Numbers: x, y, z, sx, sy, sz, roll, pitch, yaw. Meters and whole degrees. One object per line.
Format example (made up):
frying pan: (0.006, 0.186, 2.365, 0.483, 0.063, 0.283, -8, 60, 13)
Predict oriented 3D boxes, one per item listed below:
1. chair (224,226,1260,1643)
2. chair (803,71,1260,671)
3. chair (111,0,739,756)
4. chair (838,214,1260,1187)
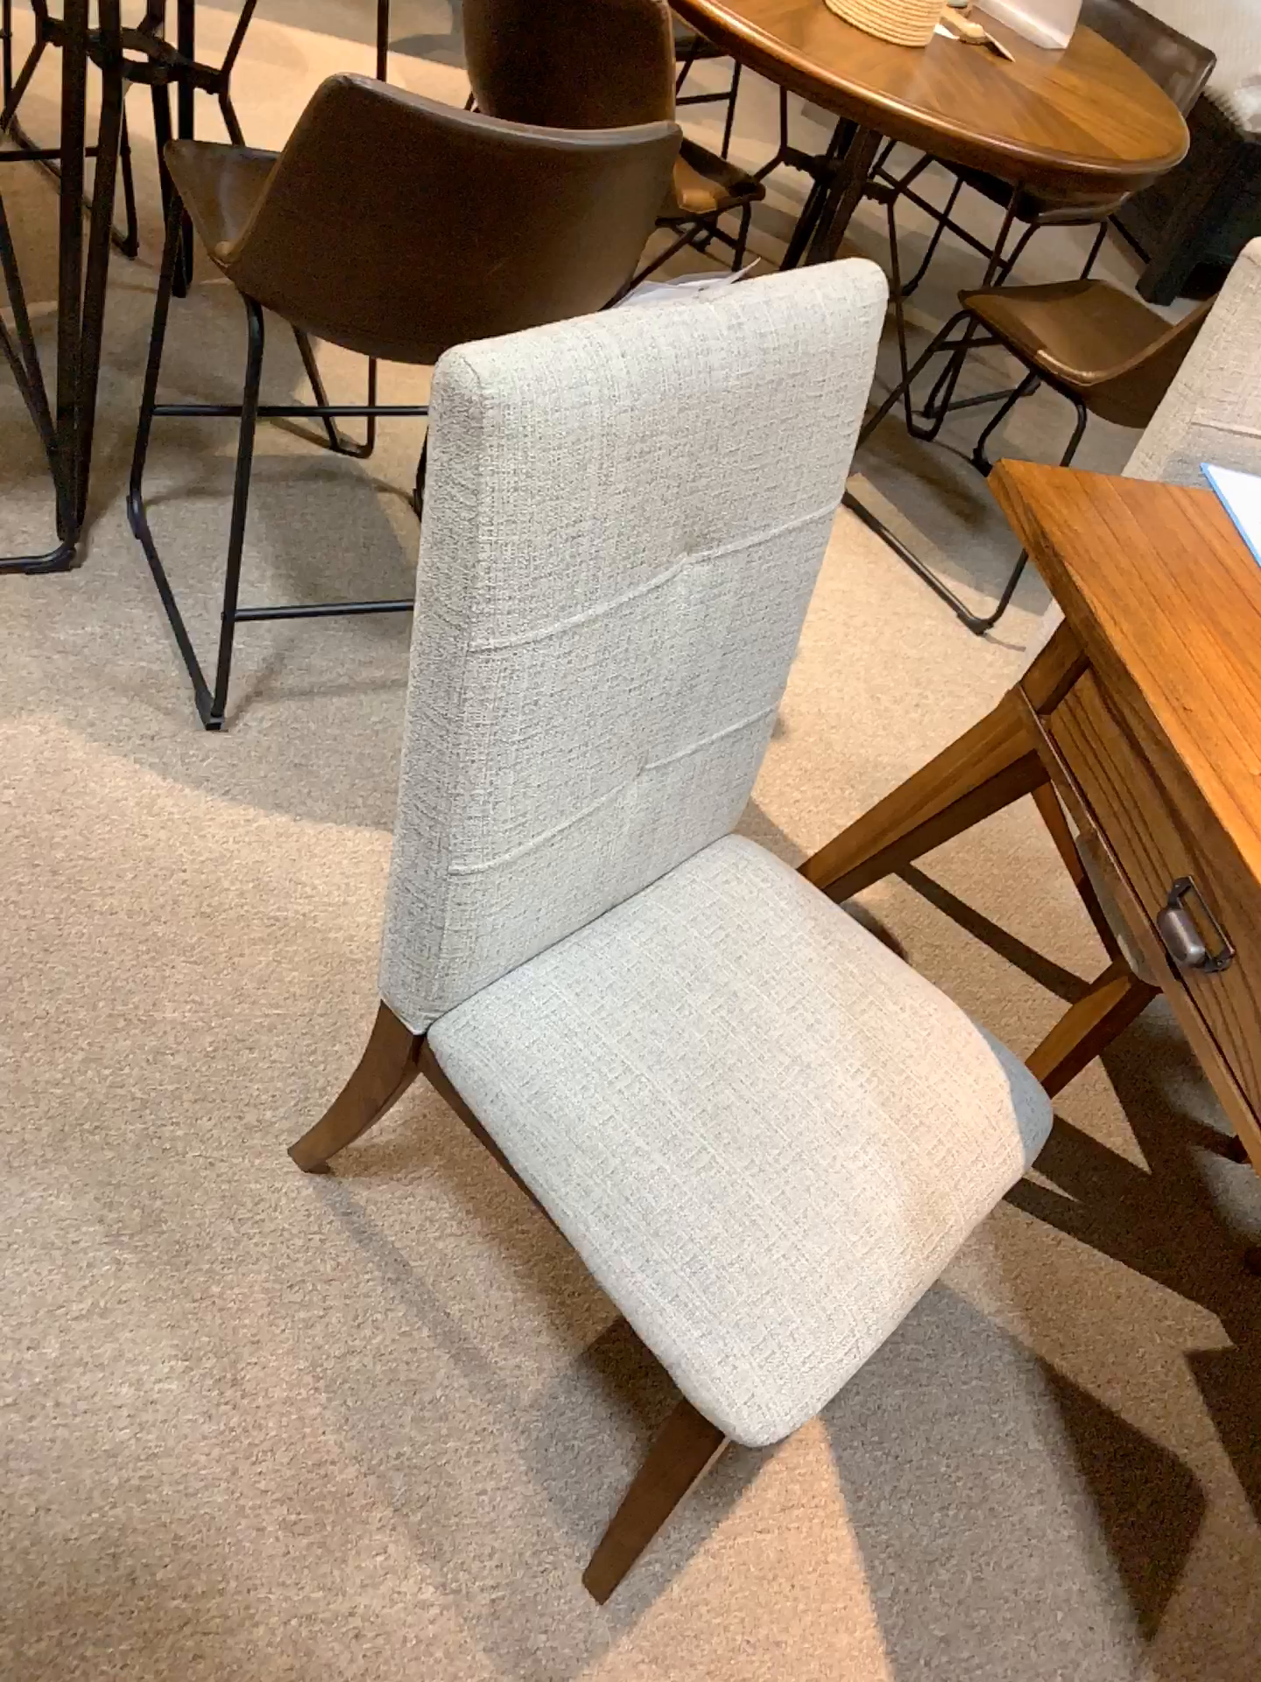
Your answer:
chair: (0.079, 0.119, 1.069, 0.486, 0.913, 0.628, -28, 65, -38)
chair: (0.818, -0.829, 2.310, 0.526, 0.744, 0.598, -20, 60, -34)
chair: (-0.336, -0.616, 1.642, 0.495, 0.793, 0.568, -11, 57, -29)
chair: (0.744, -0.098, 1.519, 0.515, 0.913, 0.599, 1, 49, -21)
